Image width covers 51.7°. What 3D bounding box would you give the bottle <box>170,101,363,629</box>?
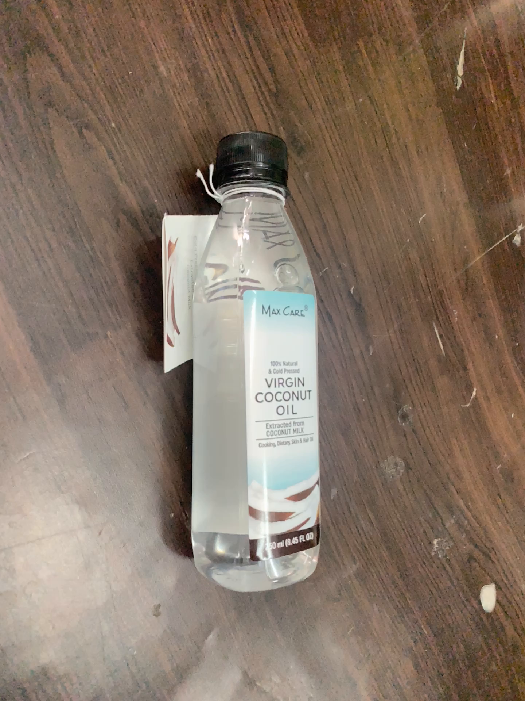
[{"bbox_3d":[-0.001,0.004,0.209,0.050,0.050,0.170,2,84,-36],"label":"bottle"}]
